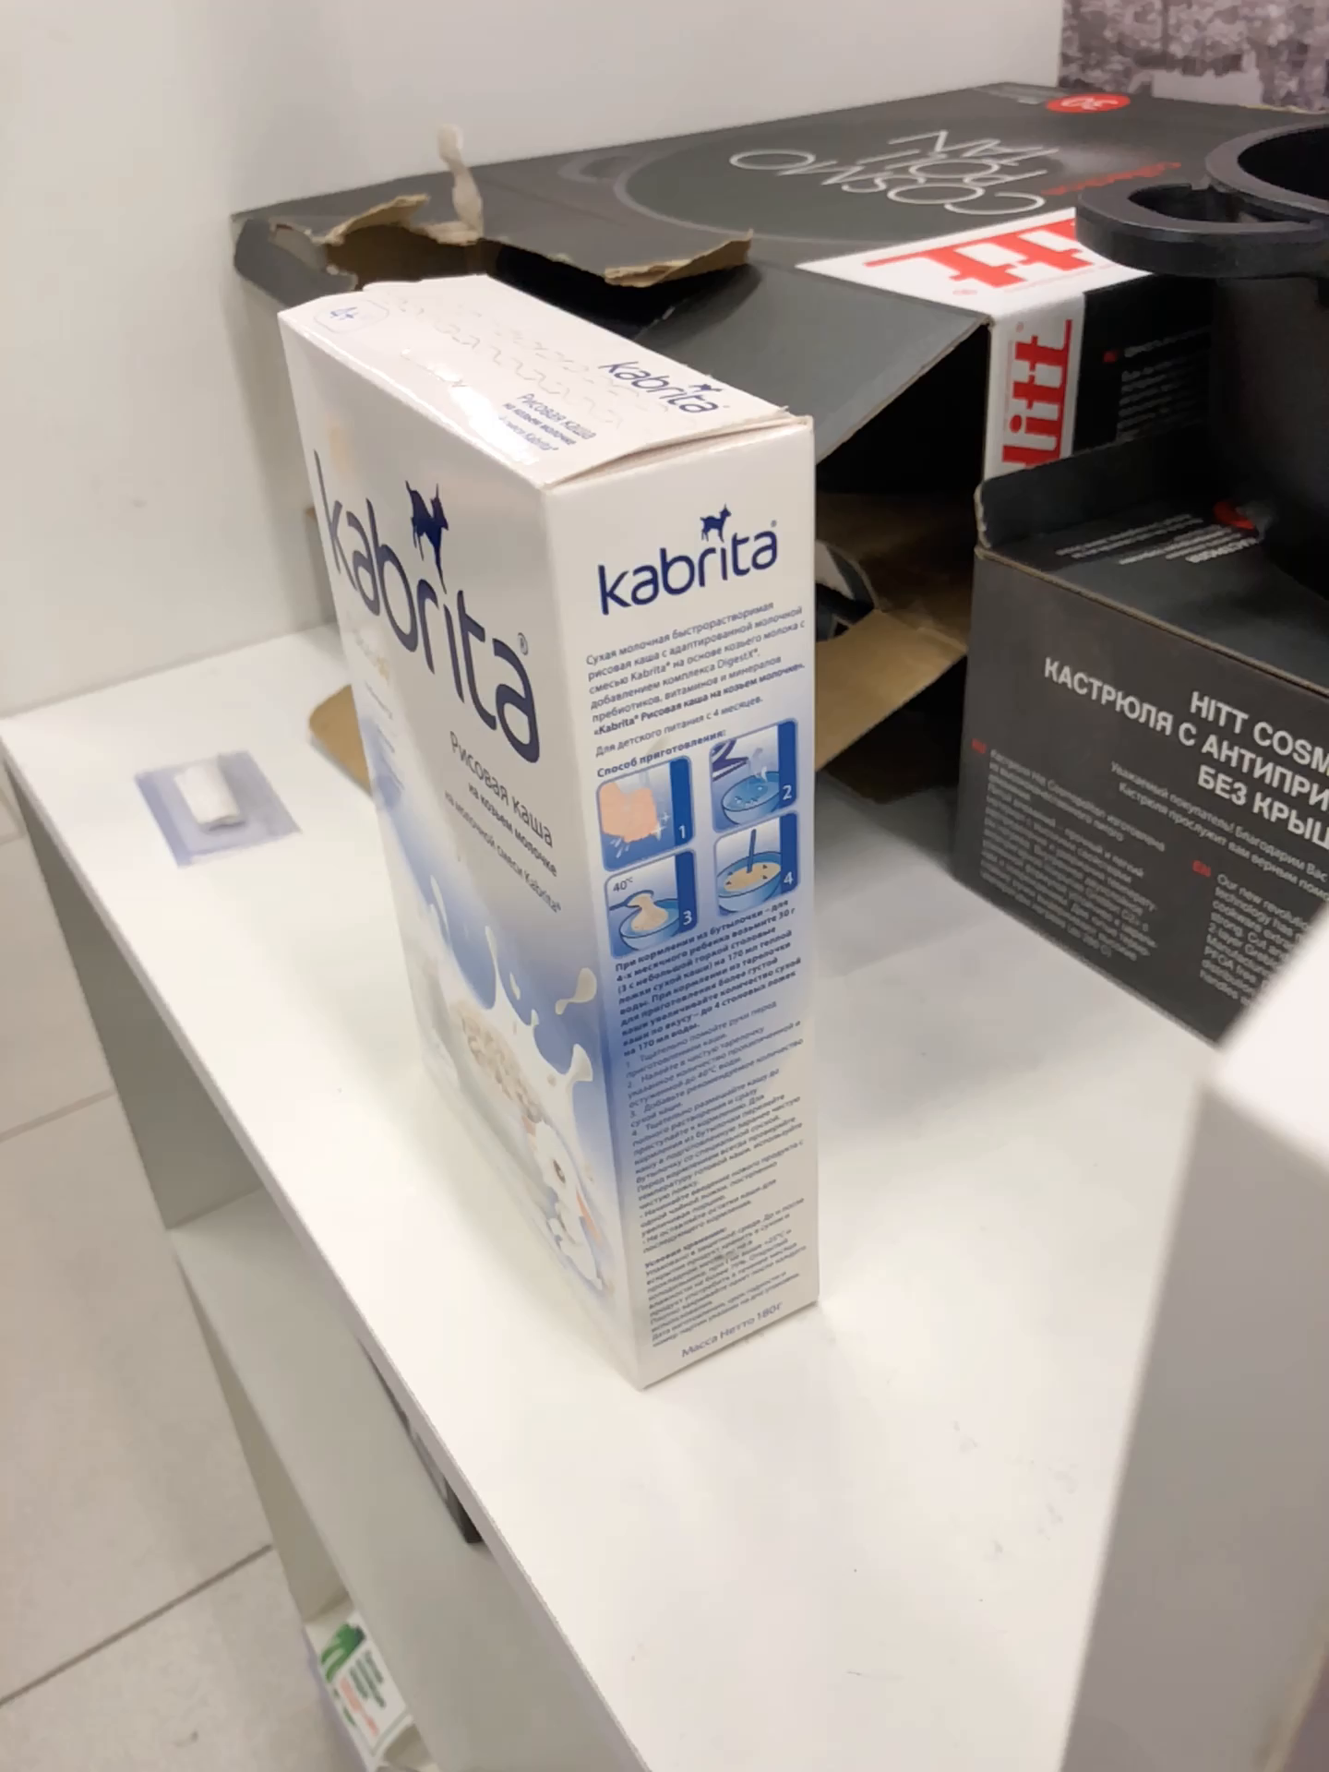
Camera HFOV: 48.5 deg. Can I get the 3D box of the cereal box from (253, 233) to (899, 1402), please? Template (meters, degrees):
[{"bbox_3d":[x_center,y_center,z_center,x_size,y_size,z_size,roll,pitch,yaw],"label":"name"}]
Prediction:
[{"bbox_3d":[-0.018,-0.016,0.324,0.060,0.209,0.141,-20,38,-22],"label":"cereal box"}]
